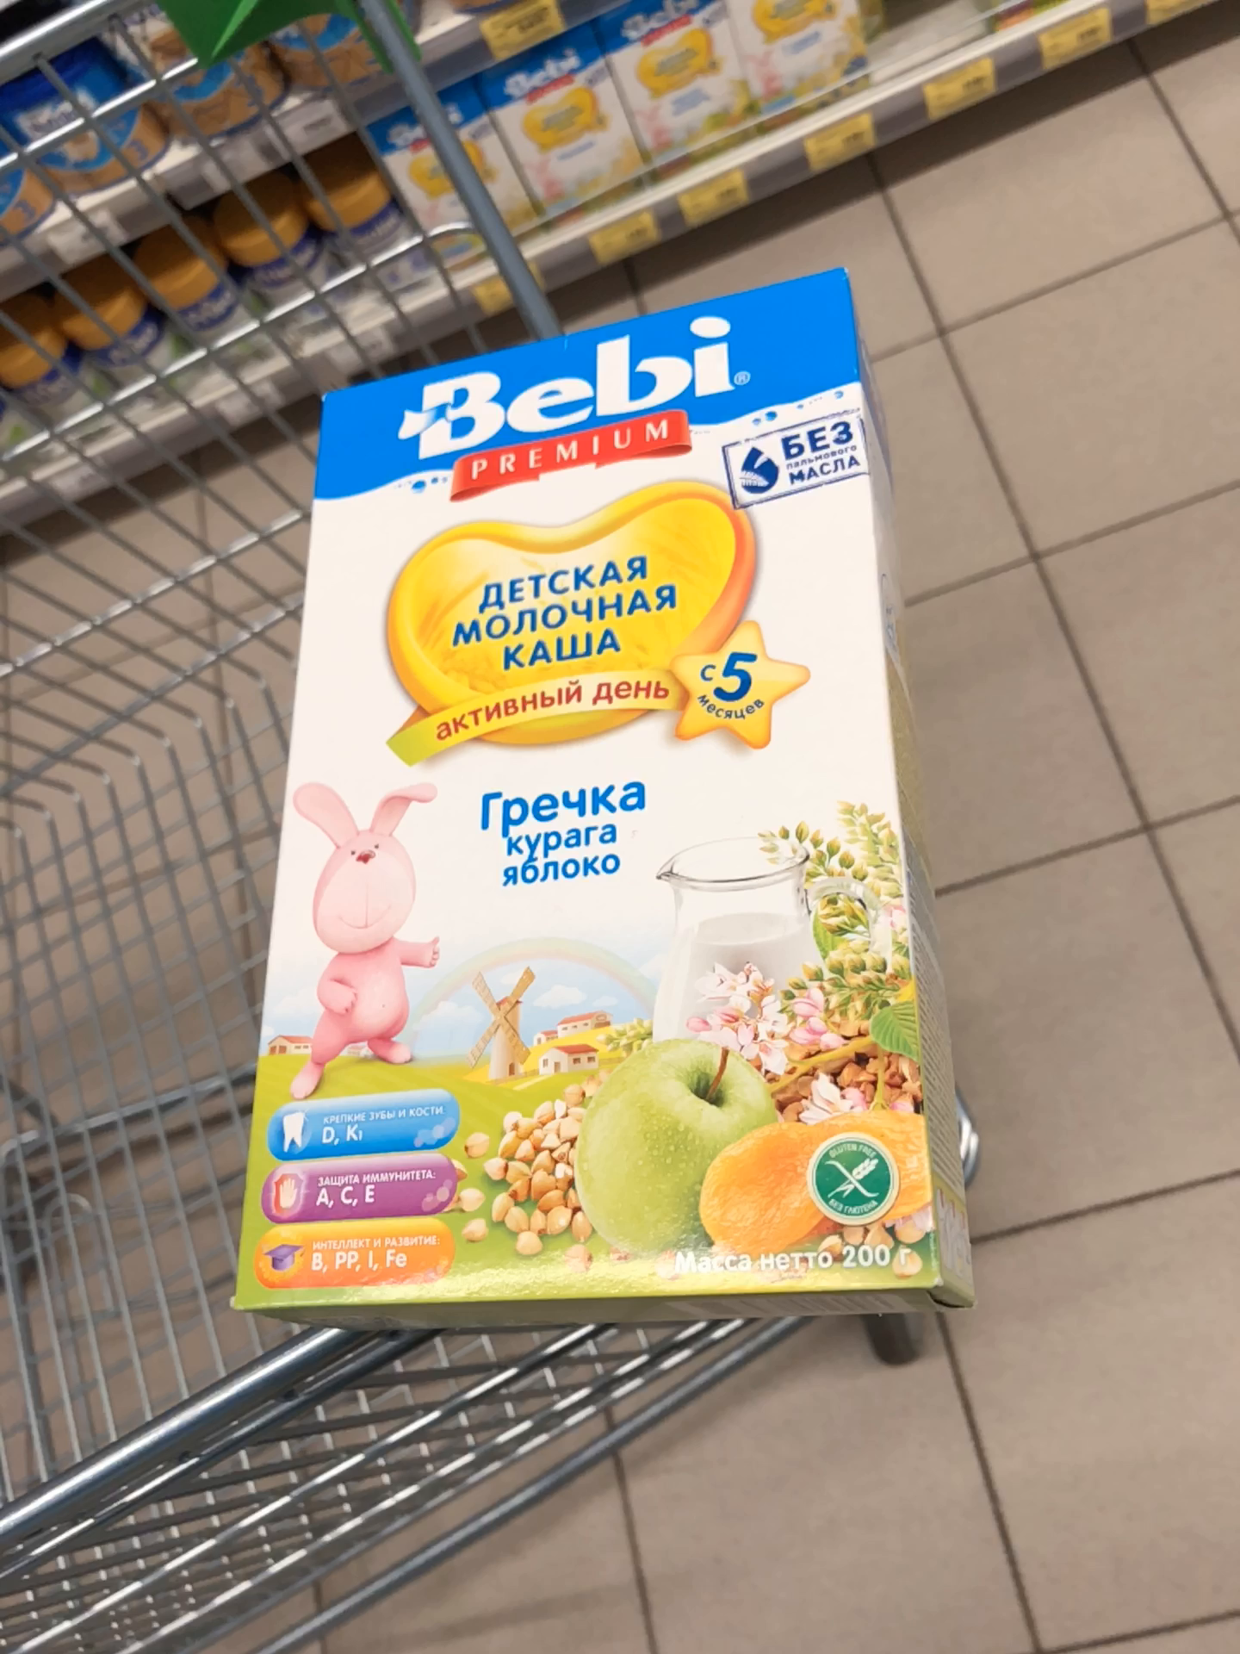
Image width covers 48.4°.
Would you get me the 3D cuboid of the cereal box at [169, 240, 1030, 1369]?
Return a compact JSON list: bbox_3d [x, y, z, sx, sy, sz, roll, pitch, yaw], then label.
[{"bbox_3d":[-0.003,-0.004,0.280,0.140,0.050,0.210,-8,65,17],"label":"cereal box"}]
